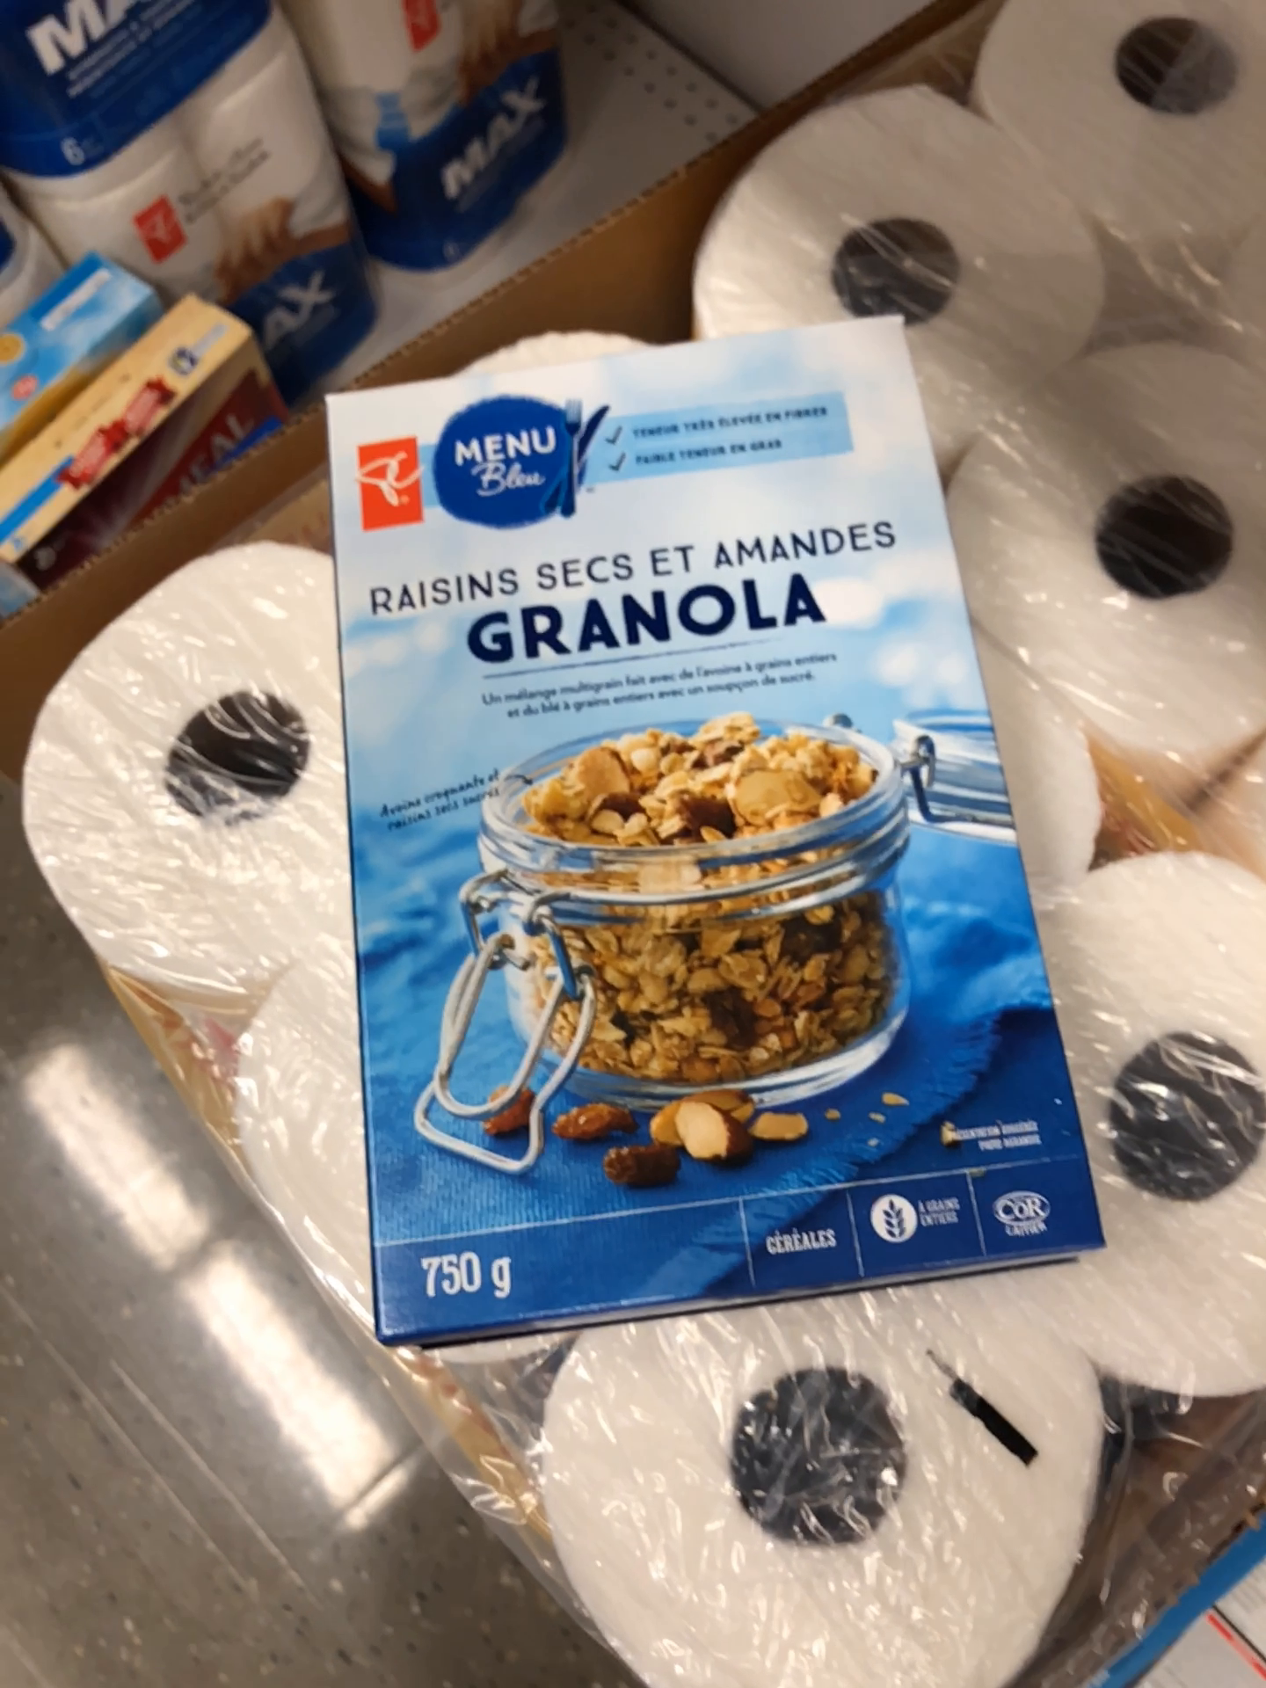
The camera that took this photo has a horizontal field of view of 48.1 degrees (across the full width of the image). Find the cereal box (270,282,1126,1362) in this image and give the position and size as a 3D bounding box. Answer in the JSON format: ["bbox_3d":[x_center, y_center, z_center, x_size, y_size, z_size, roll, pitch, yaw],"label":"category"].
[{"bbox_3d":[0.004,-0.011,0.361,0.170,0.060,0.250,-7,70,1],"label":"cereal box"}]
